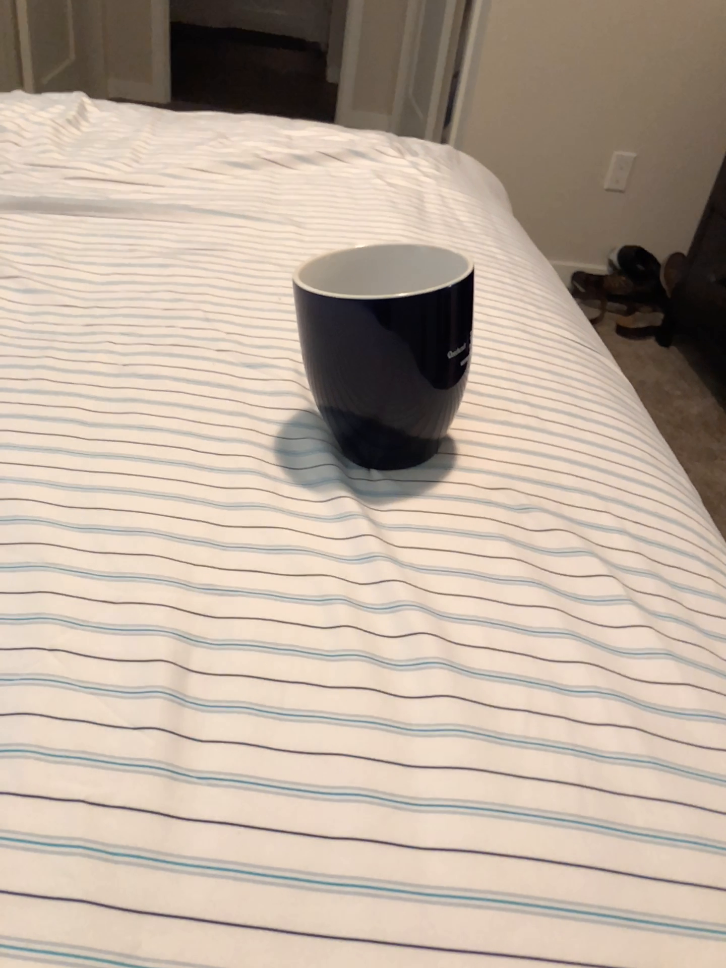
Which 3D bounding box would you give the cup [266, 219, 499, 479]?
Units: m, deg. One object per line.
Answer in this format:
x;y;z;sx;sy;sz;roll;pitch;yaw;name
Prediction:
0.017;-0.082;0.453;0.090;0.090;0.131;9;35;15;cup
